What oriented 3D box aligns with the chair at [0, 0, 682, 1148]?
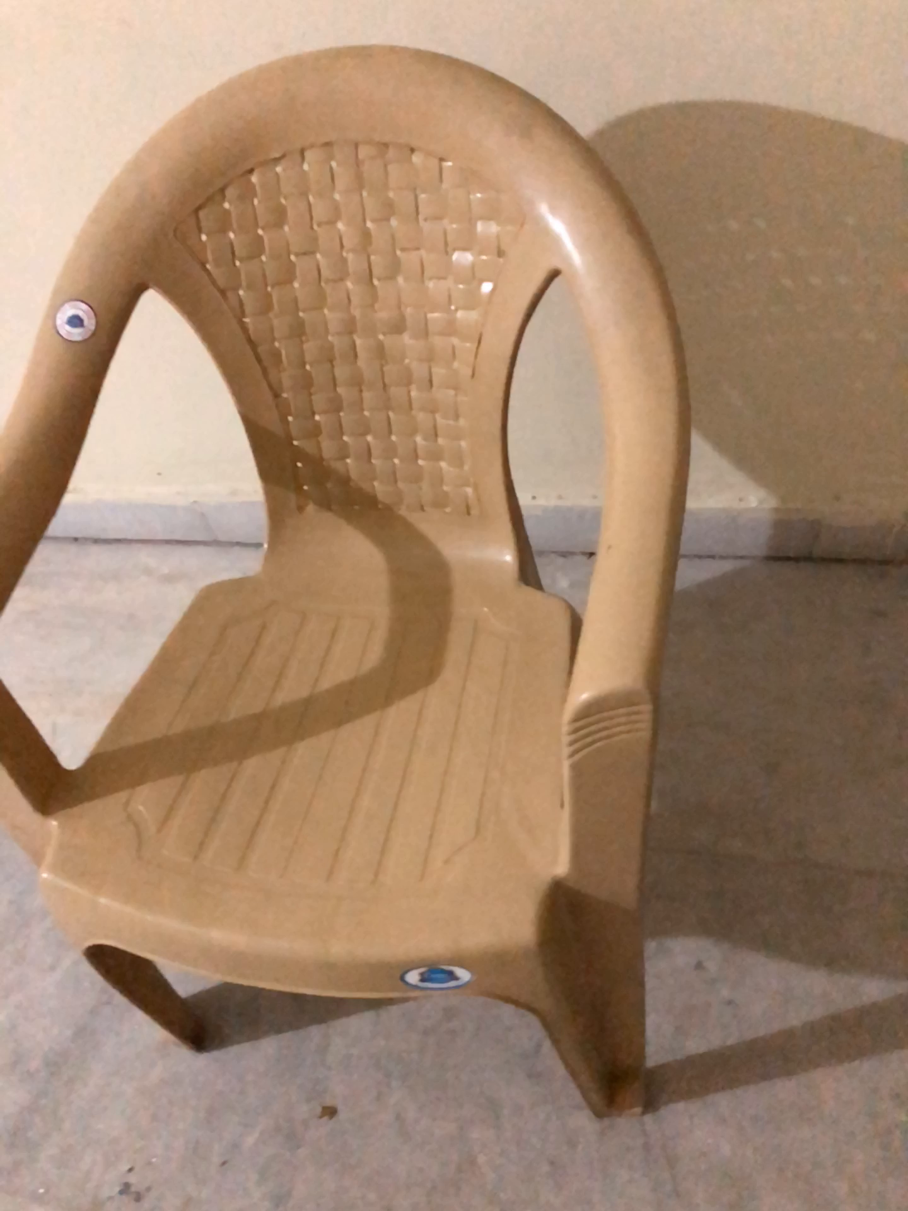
[{"bbox_3d":[-0.107,0.020,0.881,0.590,0.746,0.604,1,51,13],"label":"chair"}]
